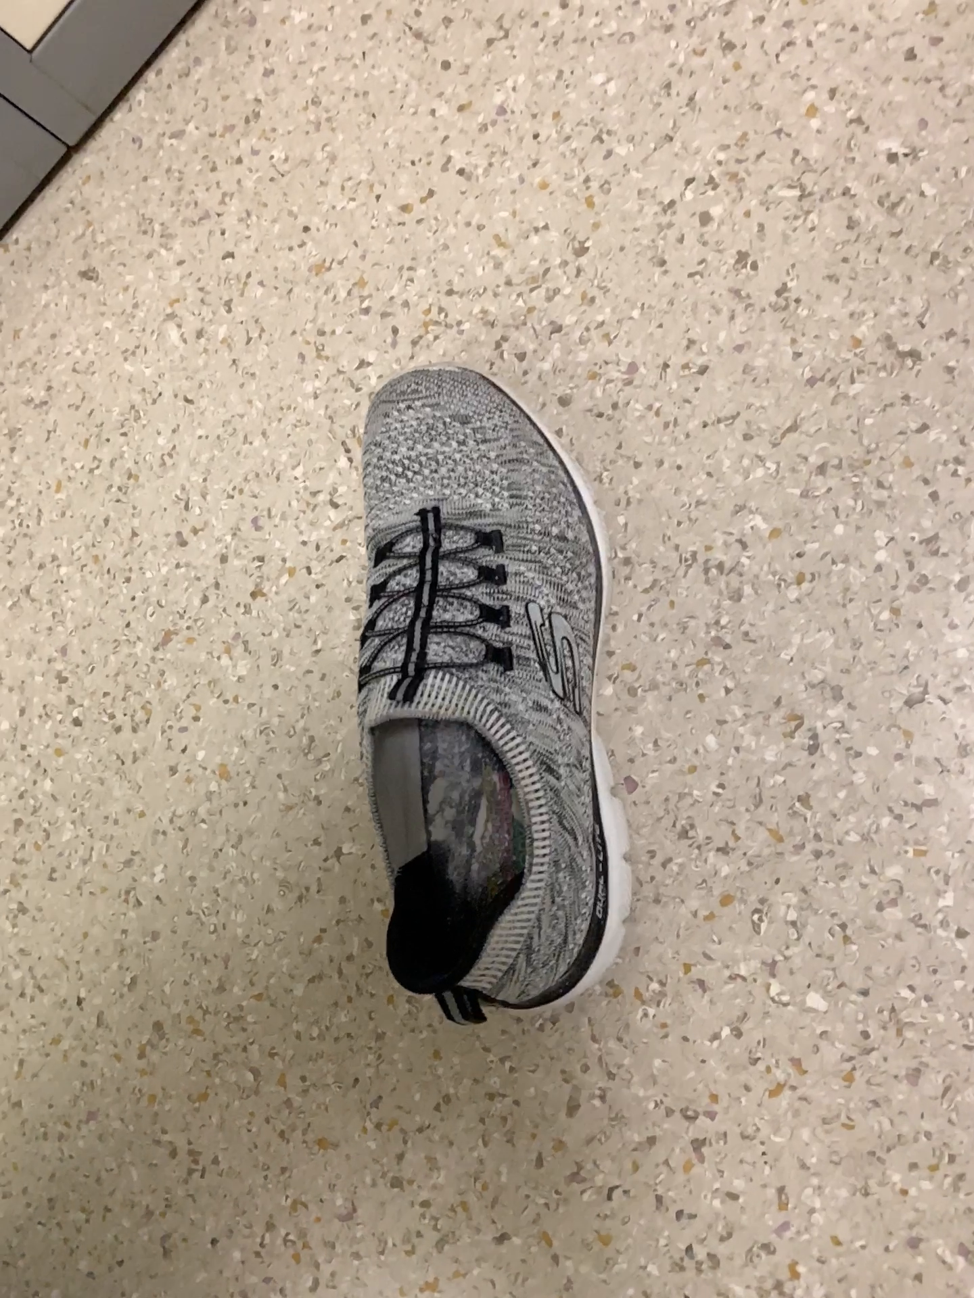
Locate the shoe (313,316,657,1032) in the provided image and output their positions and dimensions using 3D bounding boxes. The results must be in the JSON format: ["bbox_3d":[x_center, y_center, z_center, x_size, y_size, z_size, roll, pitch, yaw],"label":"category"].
[{"bbox_3d":[0.001,0.012,0.392,0.094,0.093,0.241,-6,82,20],"label":"shoe"}]
